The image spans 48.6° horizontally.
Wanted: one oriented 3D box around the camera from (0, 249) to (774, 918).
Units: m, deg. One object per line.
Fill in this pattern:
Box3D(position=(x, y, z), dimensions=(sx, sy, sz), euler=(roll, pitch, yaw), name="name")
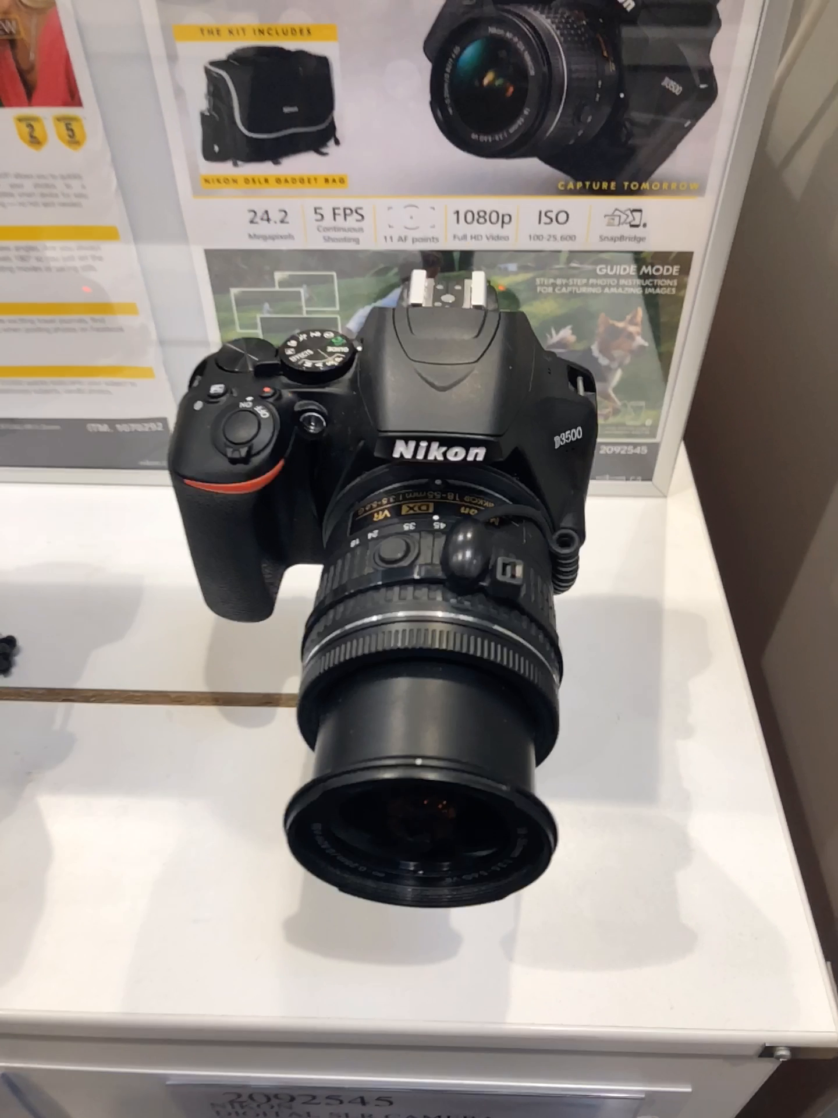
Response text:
Box3D(position=(-0.007, -0.001, 0.231), dimensions=(0.130, 0.089, 0.141), euler=(1, 45, 1), name="camera")
